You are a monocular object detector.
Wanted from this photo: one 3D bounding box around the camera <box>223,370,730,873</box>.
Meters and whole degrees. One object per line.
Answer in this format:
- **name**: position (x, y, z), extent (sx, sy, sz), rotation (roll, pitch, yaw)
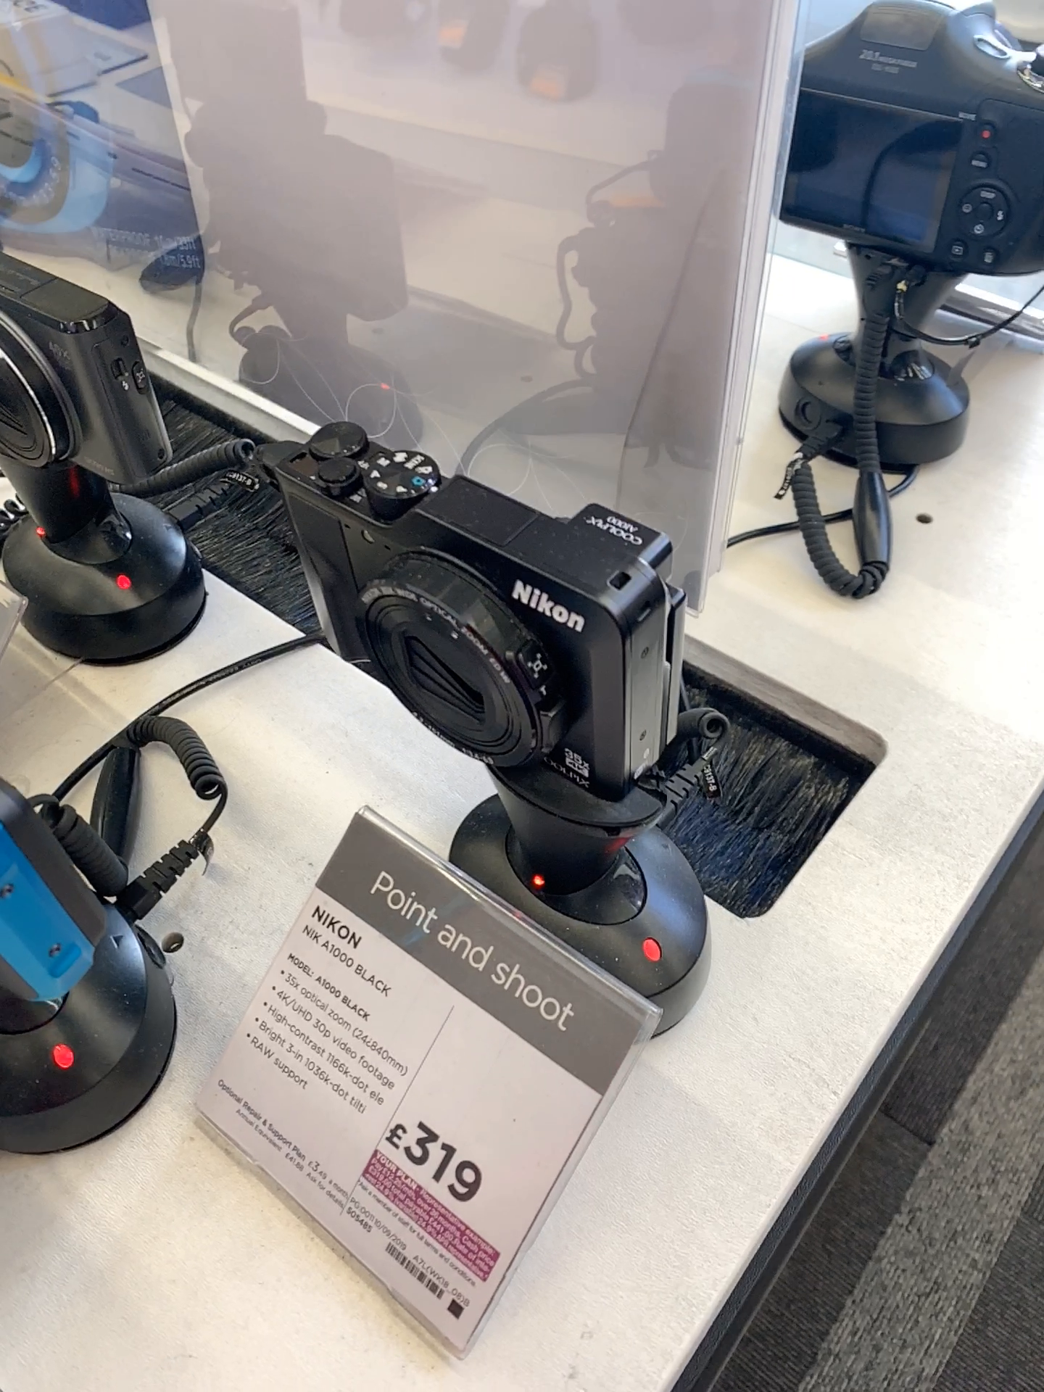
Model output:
- **camera**: position (-0.013, -0.019, 0.265), extent (0.120, 0.079, 0.030), rotation (30, 56, 26)
